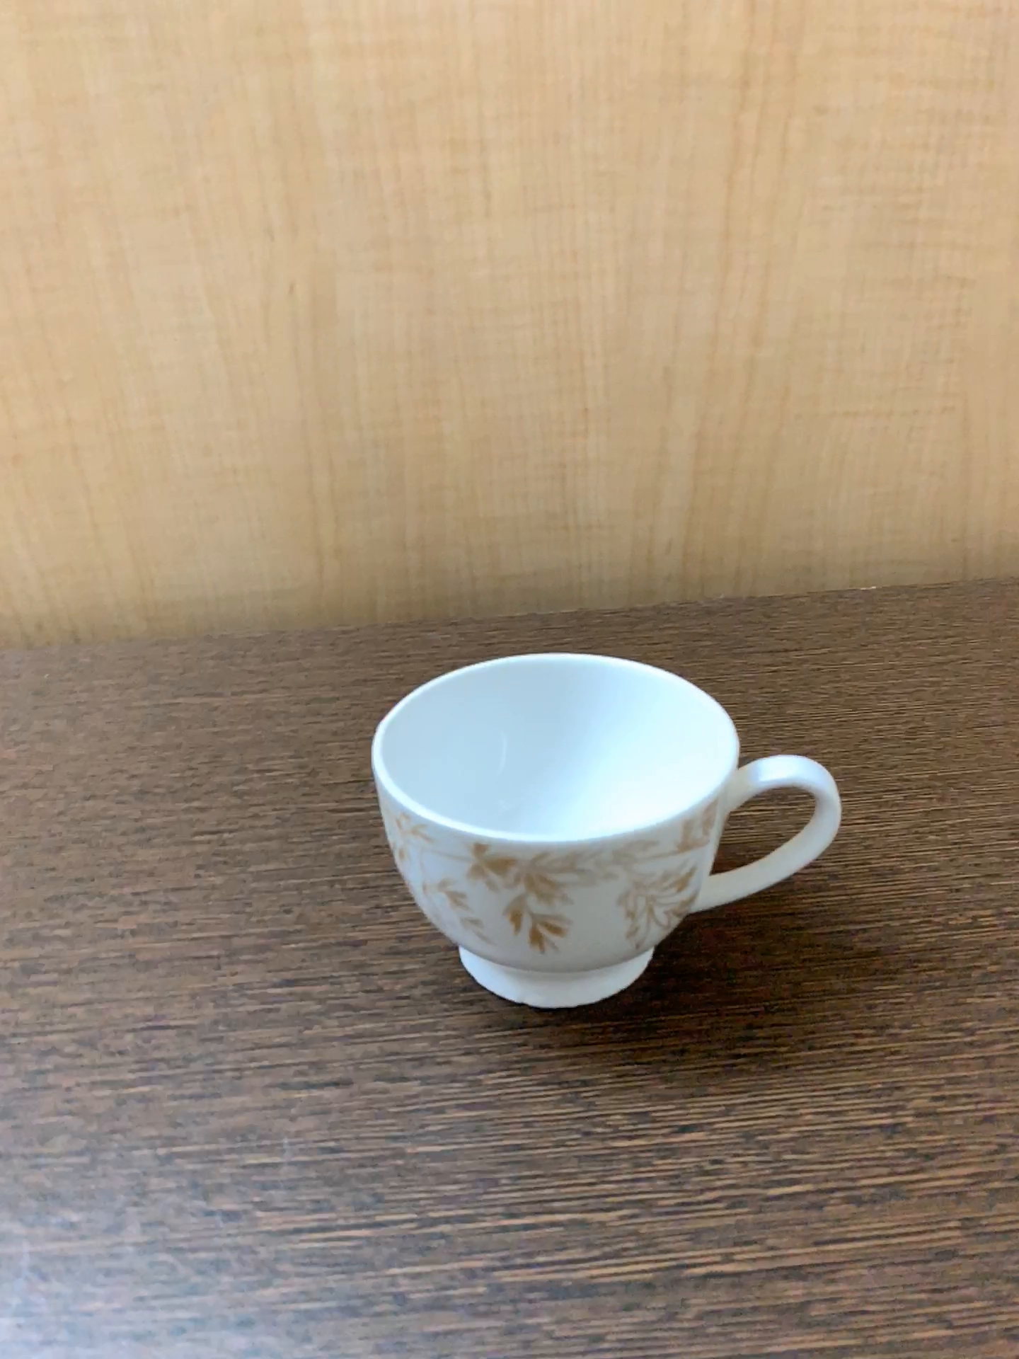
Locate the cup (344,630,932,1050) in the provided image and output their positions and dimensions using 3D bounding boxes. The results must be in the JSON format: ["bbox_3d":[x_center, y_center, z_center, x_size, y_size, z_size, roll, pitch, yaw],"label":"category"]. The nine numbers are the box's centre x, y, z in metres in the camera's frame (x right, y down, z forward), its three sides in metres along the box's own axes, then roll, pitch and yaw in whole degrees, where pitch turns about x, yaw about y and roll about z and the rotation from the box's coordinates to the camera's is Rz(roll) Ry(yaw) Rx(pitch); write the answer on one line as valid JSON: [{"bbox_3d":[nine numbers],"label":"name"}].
[{"bbox_3d":[0.023,0.030,0.227,0.100,0.050,0.081,-2,27,2],"label":"cup"}]
